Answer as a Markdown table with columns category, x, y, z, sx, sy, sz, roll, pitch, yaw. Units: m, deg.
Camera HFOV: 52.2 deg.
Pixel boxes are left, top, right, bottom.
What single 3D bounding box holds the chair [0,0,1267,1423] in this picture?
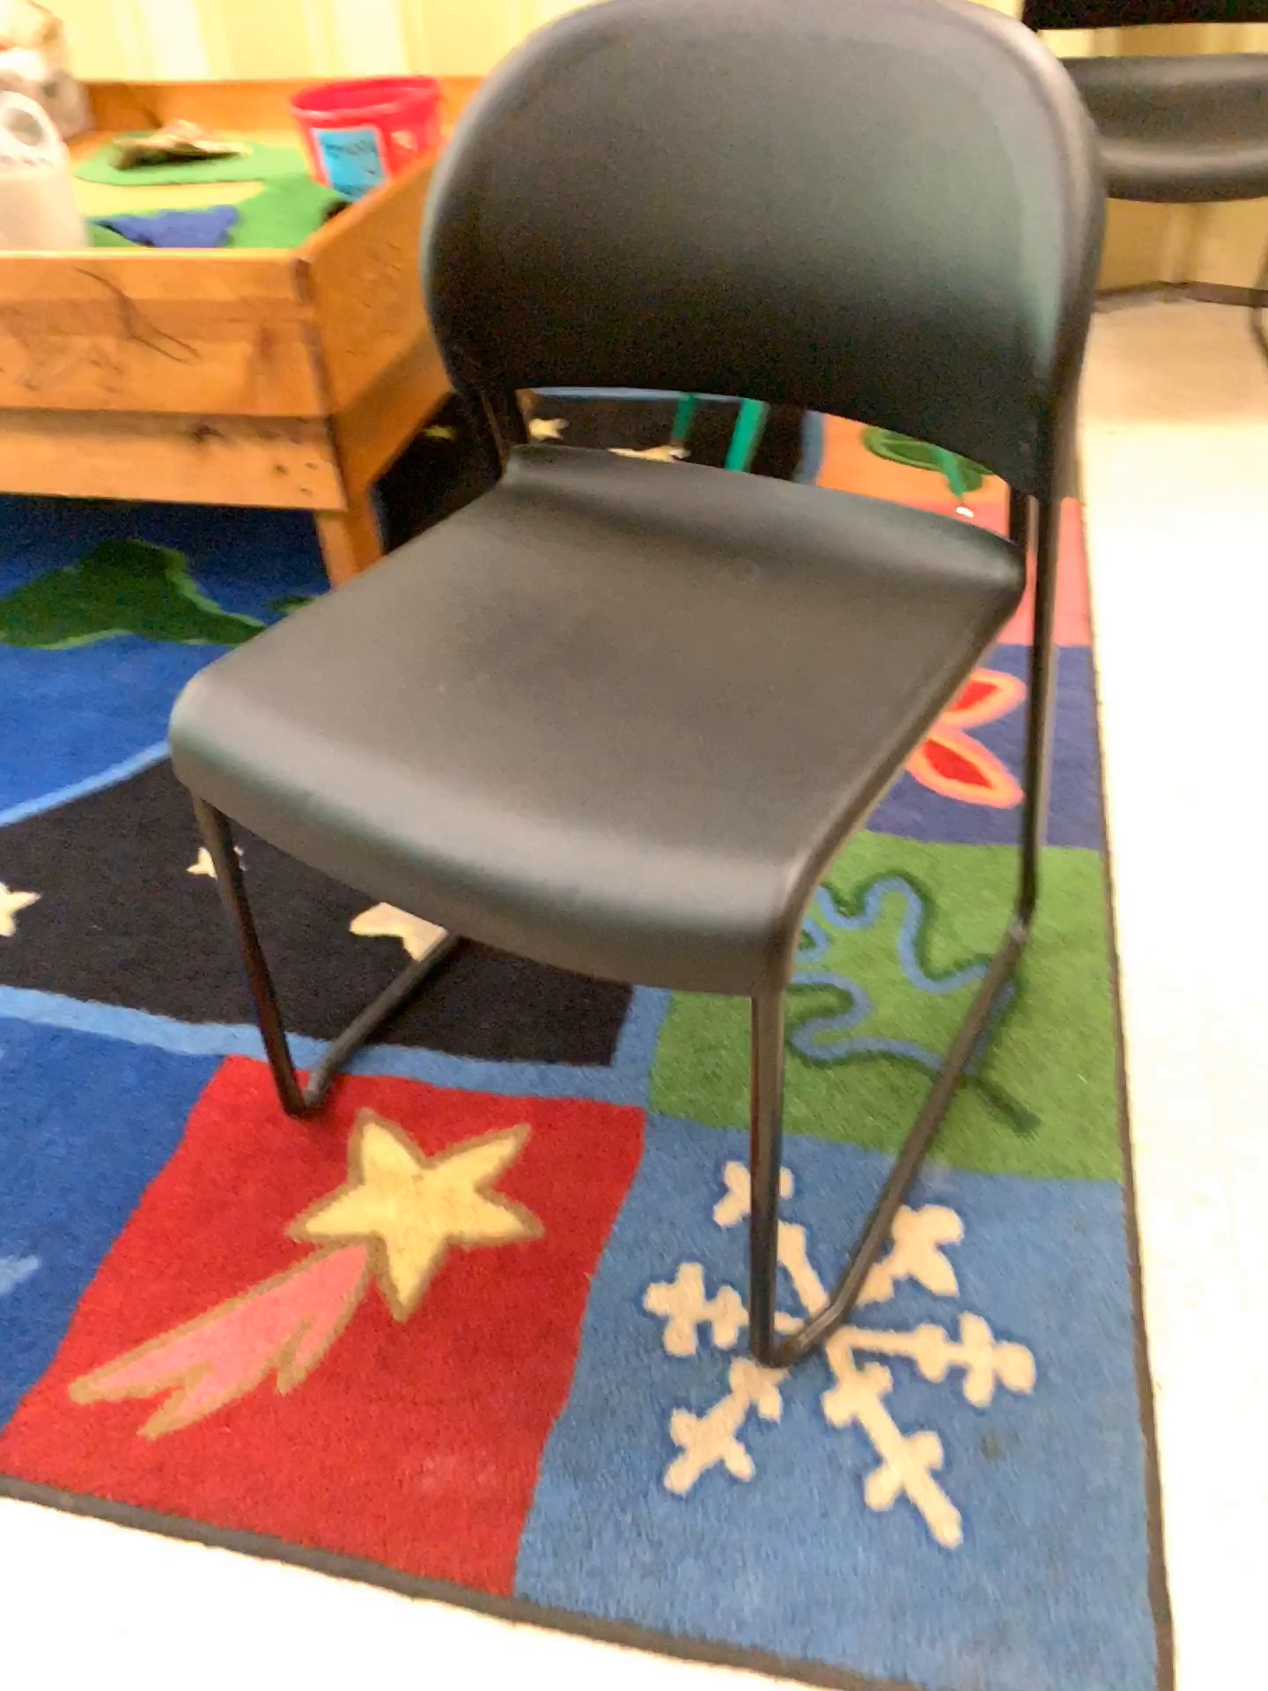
| category | x | y | z | sx | sy | sz | roll | pitch | yaw |
| --- | --- | --- | --- | --- | --- | --- | --- | --- | --- |
| chair | 0.032 | -0.157 | 0.978 | 0.592 | 0.775 | 0.612 | 19 | 45 | 26 |
